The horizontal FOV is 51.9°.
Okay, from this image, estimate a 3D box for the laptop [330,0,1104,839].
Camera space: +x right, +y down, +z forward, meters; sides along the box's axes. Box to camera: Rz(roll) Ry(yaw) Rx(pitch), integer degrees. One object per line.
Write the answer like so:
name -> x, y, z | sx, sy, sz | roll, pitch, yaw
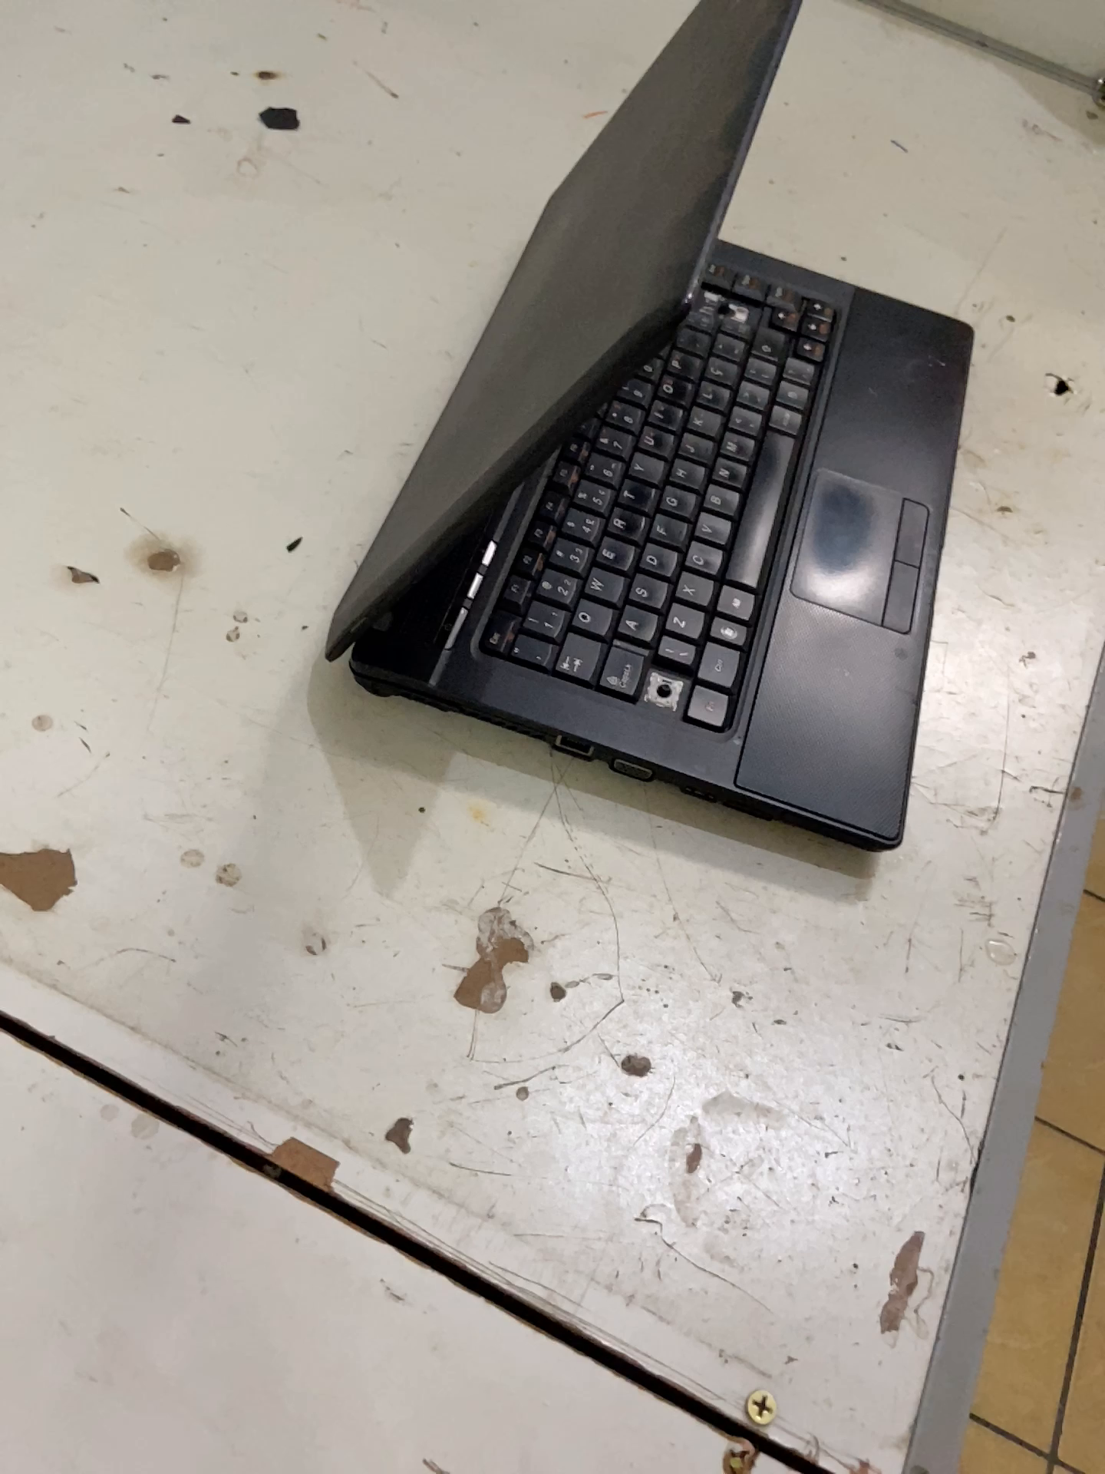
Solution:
laptop -> 0.083, -0.182, 0.450 | 0.223, 0.194, 0.334 | 18, 57, 2
